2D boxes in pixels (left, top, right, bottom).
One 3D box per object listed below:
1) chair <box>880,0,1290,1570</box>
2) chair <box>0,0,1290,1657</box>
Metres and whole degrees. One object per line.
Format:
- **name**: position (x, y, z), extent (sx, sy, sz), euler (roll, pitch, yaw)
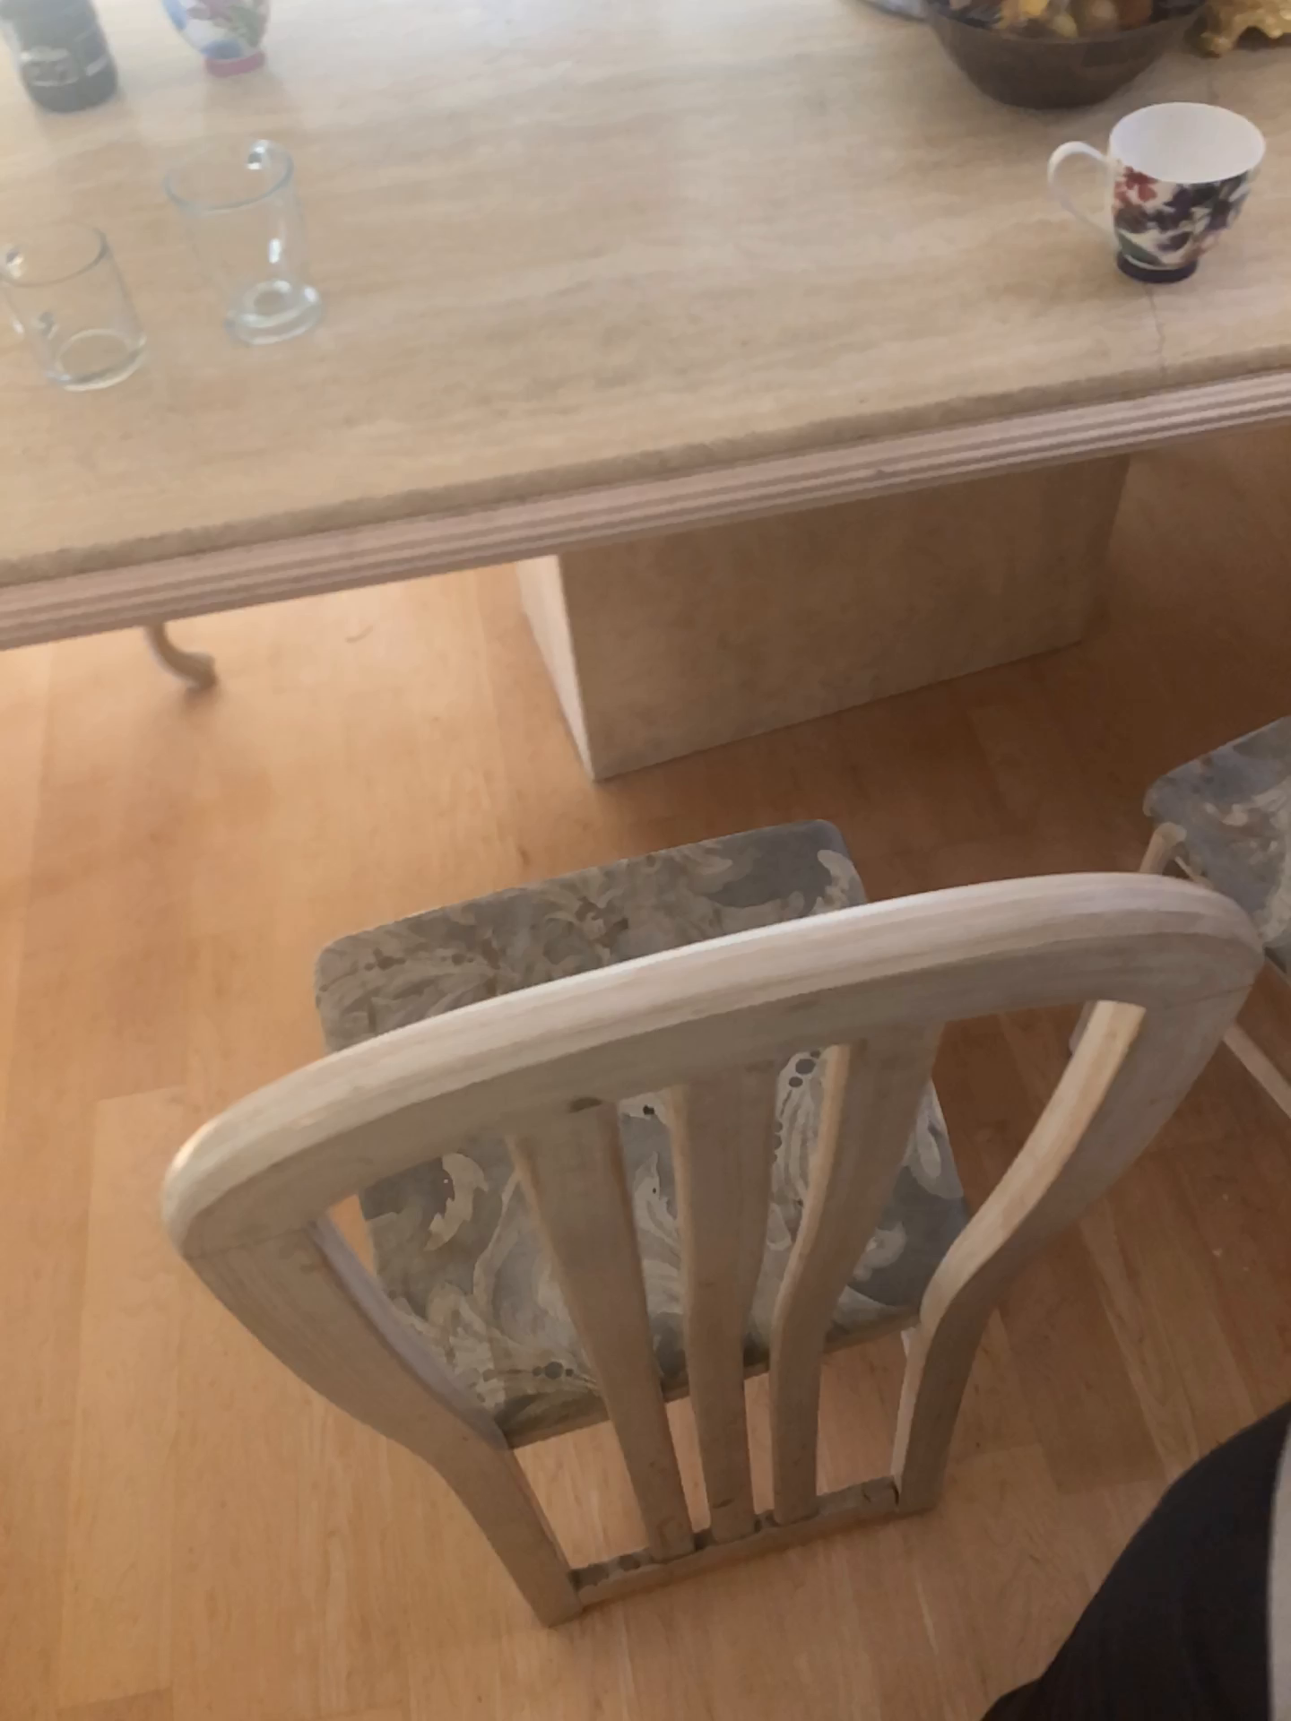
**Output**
- **chair**: position (0.542, 0.041, 1.073), extent (0.480, 1.142, 0.563), euler (-17, 53, -7)
- **chair**: position (-0.012, 0.097, 0.964), extent (0.480, 1.142, 0.564), euler (-13, 55, -5)
